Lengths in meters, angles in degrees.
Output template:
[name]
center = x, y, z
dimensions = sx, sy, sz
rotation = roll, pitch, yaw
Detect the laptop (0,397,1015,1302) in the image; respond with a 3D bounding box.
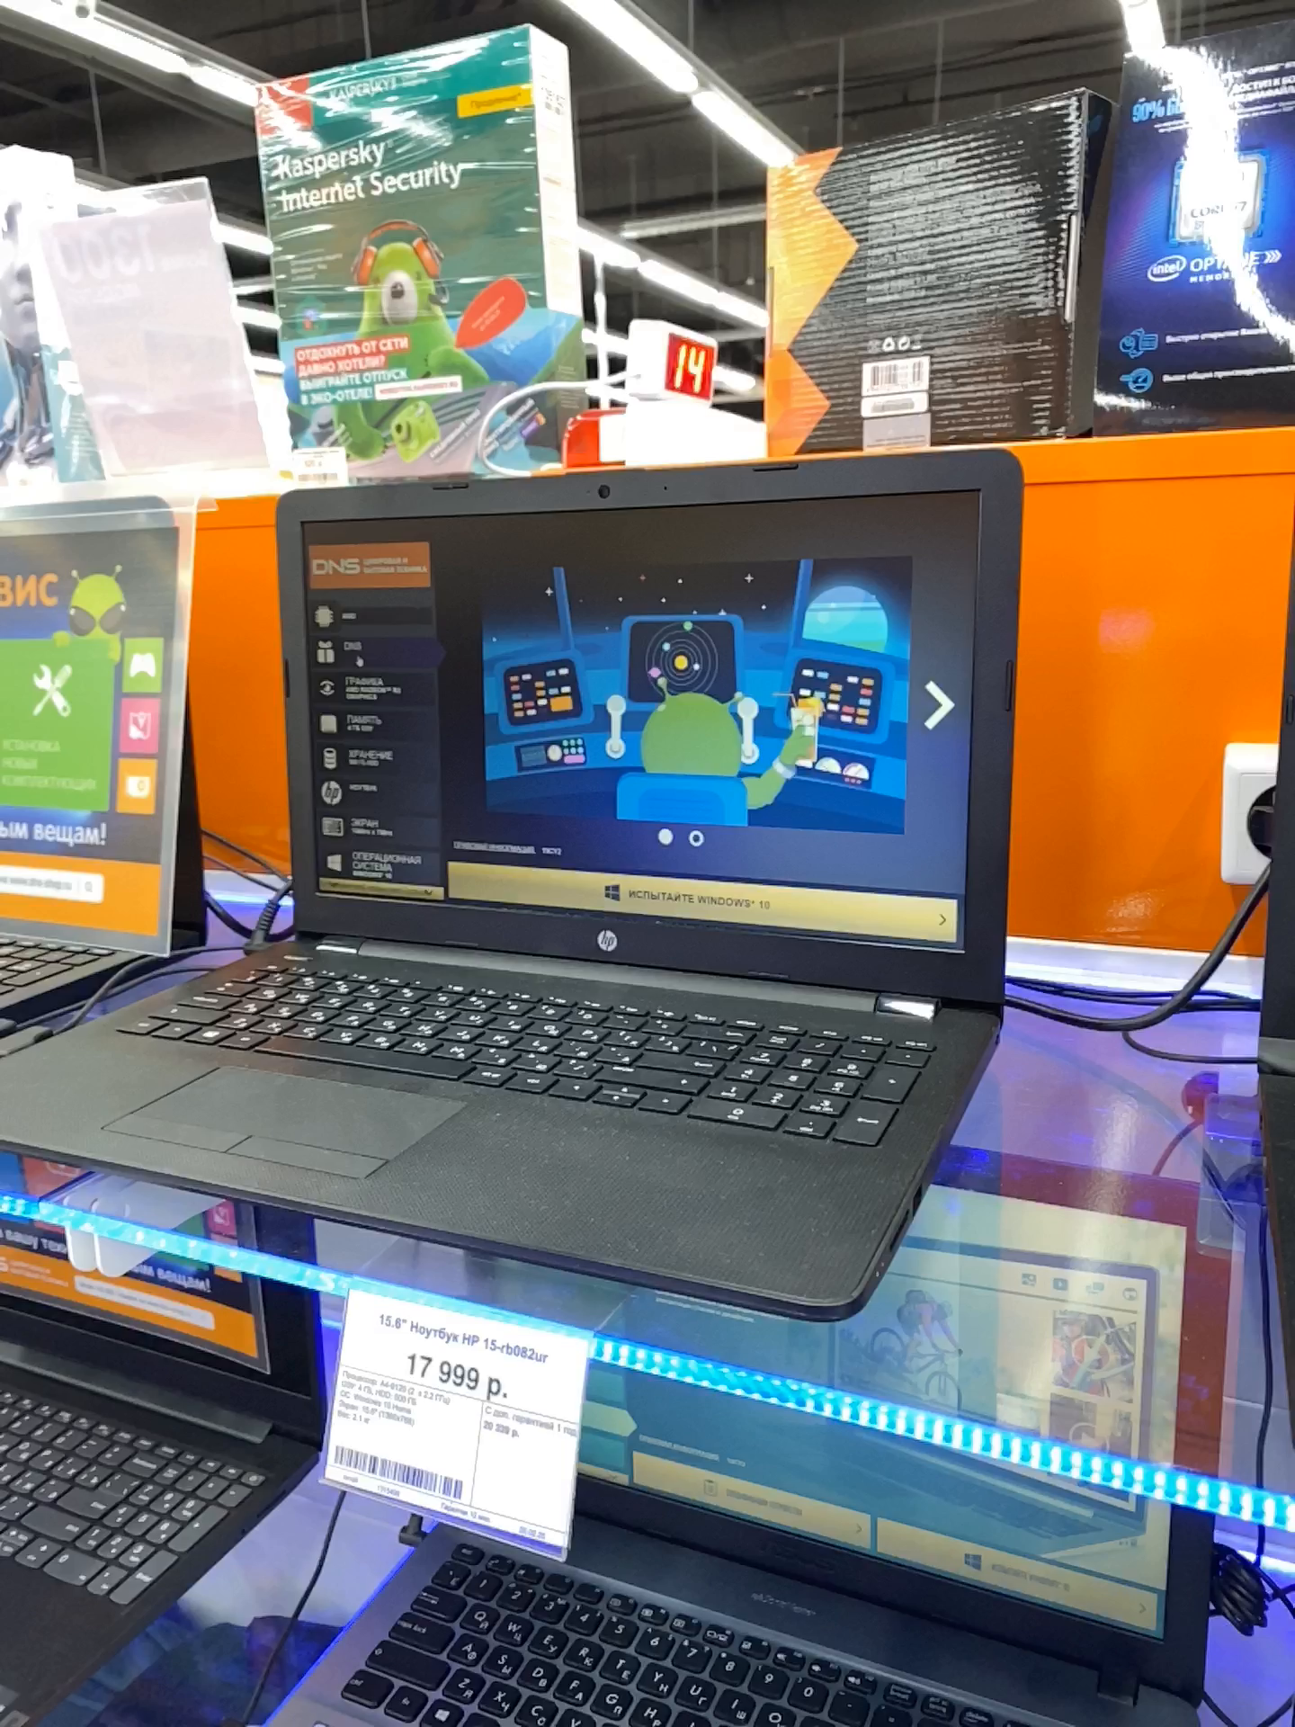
[laptop]
center = -0.069, -0.037, 0.524
dimensions = 0.369, 0.231, 0.271
rotation = 4, 13, 23
